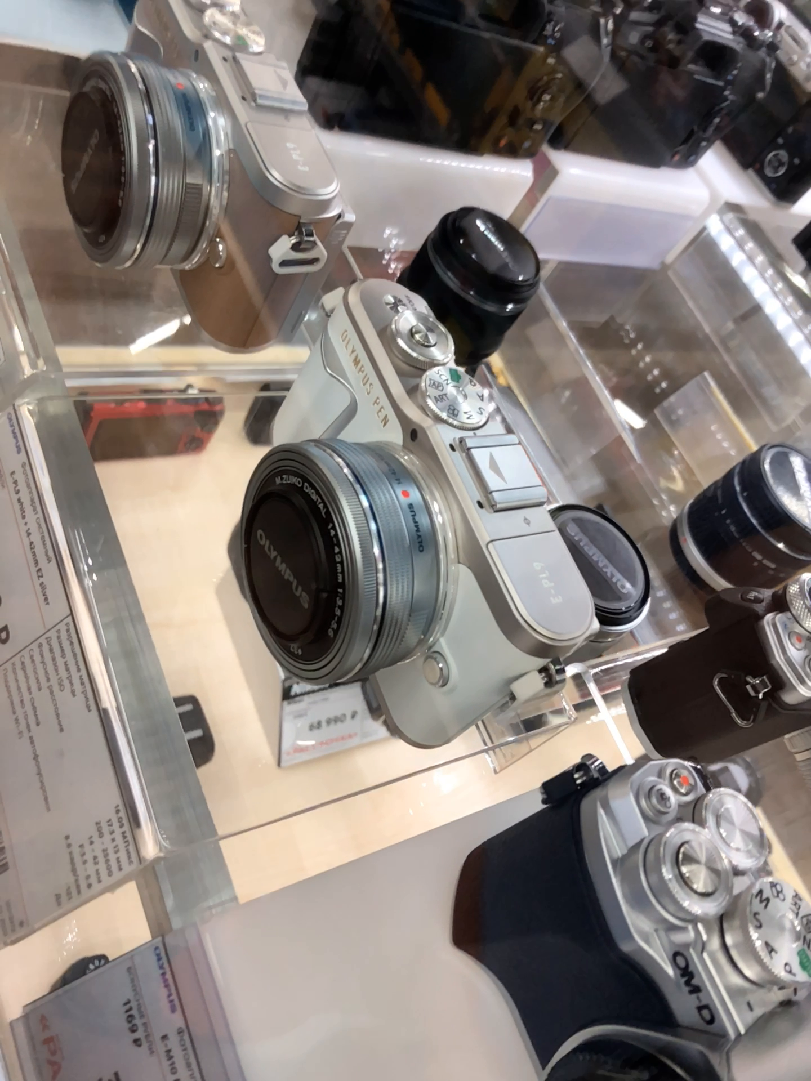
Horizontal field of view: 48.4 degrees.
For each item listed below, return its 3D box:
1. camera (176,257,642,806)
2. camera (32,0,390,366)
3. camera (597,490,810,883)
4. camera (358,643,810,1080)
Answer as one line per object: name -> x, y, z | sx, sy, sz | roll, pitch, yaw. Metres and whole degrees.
camera -> -0.007, -0.005, 0.234 | 0.053, 0.070, 0.114 | -10, 63, -37
camera -> -0.063, -0.111, 0.271 | 0.061, 0.072, 0.087 | -10, 64, -37
camera -> 0.136, 0.040, 0.275 | 0.115, 0.072, 0.072 | -9, 63, -36
camera -> 0.050, 0.091, 0.169 | 0.053, 0.072, 0.114 | -10, 63, -37
